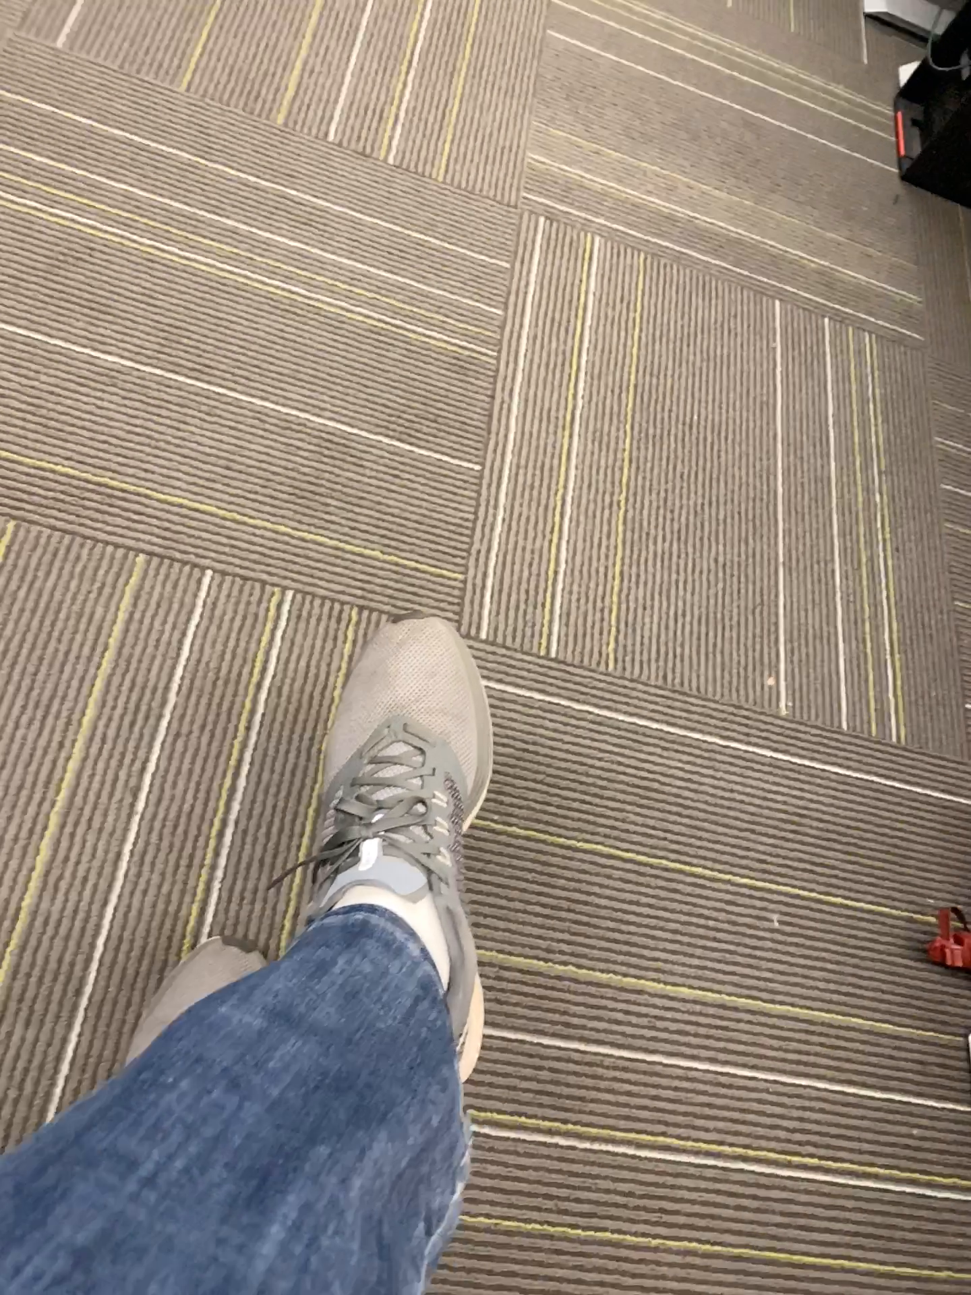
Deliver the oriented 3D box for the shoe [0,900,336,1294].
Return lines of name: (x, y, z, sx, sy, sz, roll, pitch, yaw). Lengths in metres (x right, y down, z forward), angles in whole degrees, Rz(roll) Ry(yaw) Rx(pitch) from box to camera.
shoe: (-0.245, 0.384, 0.782, 0.123, 0.180, 0.310, 23, 61, -7)

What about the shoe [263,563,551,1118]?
shoe: (-0.051, 0.116, 0.606, 0.126, 0.115, 0.297, -11, 63, 10)
